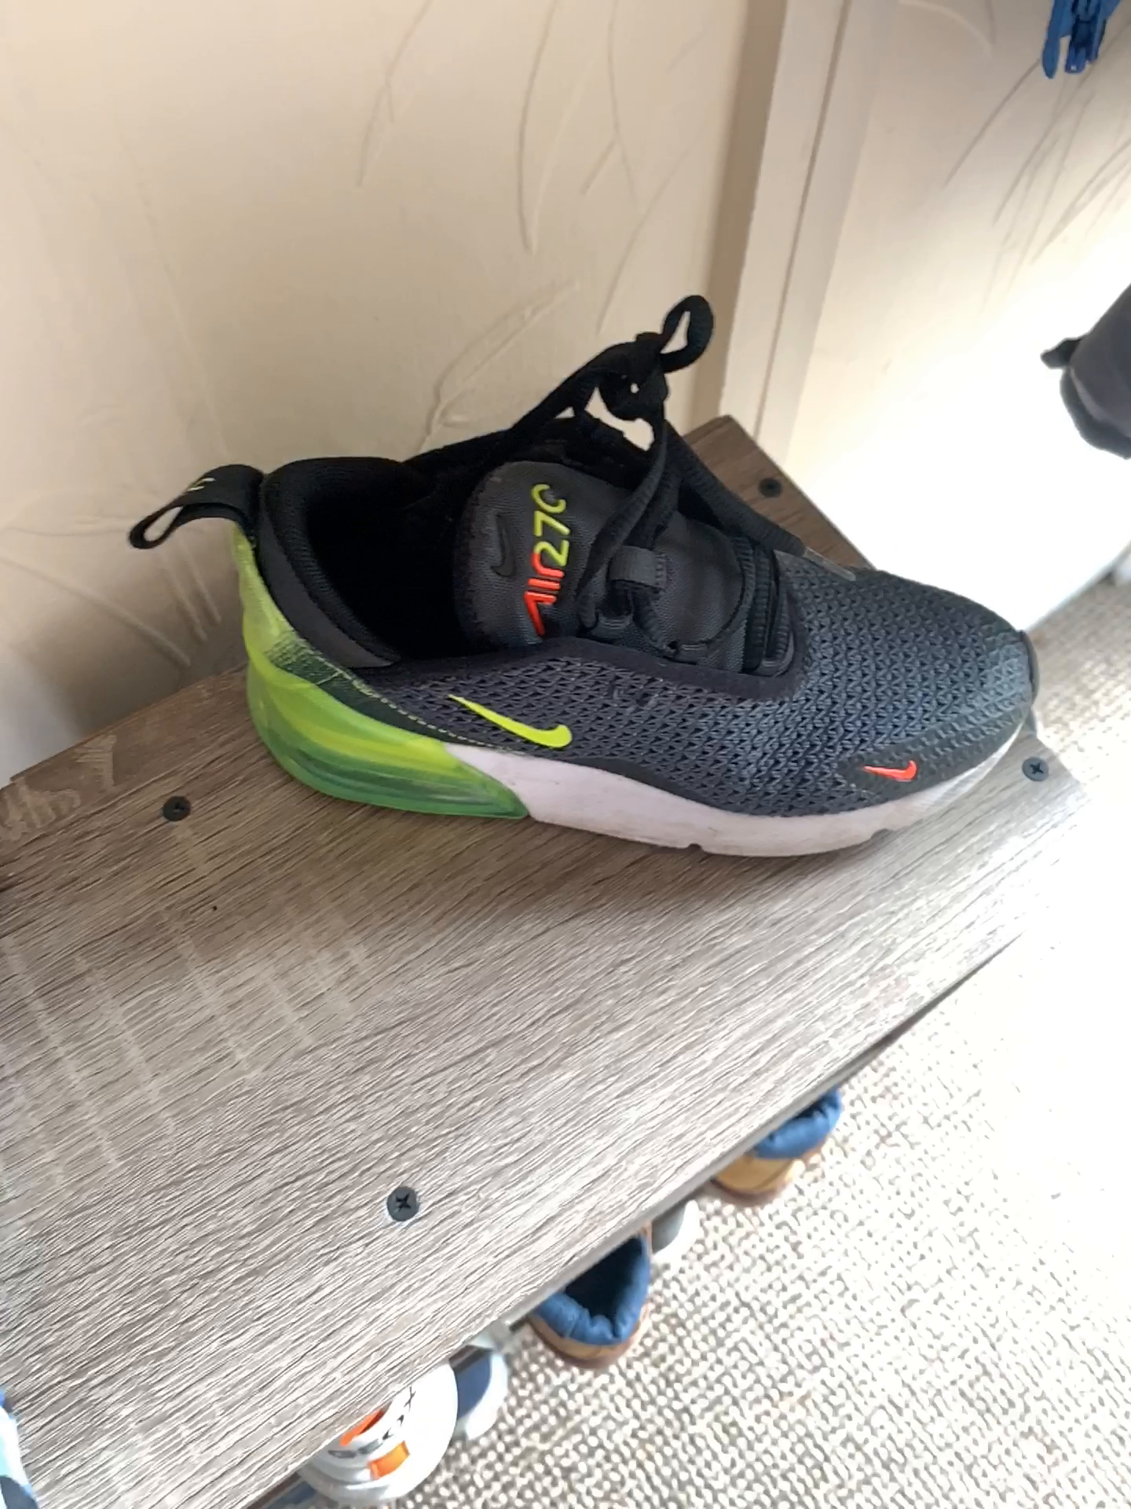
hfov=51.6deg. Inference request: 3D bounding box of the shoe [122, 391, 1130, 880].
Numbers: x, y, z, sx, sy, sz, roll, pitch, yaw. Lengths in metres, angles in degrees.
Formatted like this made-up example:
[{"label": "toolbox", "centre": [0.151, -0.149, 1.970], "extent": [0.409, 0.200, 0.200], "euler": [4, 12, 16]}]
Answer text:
[{"label": "shoe", "centre": [0.020, -0.029, 0.342], "extent": [0.247, 0.109, 0.091], "euler": [1, 62, -1]}]
